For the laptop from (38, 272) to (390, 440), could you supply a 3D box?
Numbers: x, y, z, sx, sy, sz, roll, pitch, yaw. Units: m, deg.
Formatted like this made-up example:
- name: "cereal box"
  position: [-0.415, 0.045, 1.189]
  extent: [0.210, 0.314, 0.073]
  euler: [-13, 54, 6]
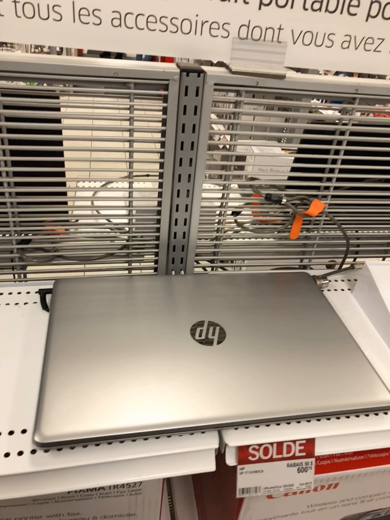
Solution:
- name: "laptop"
  position: [0.015, 0.104, 0.599]
  extent: [0.416, 0.002, 0.278]
  euler: [-1, 34, -11]
